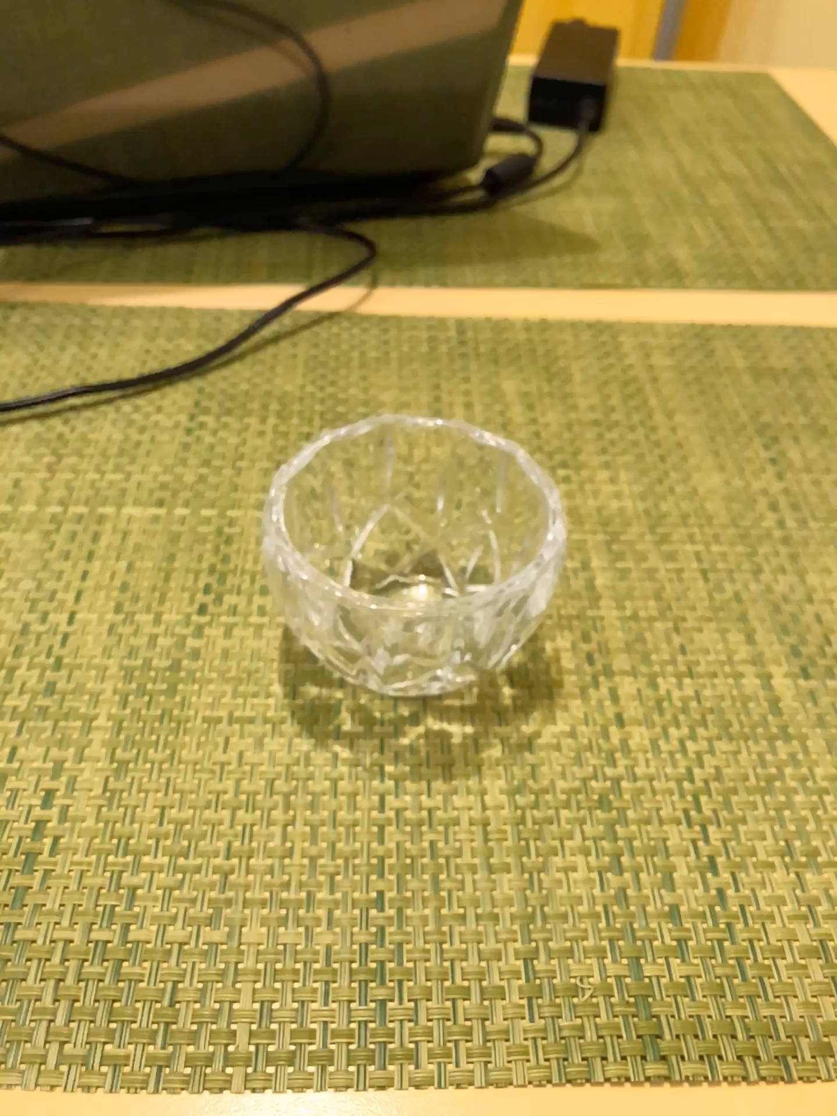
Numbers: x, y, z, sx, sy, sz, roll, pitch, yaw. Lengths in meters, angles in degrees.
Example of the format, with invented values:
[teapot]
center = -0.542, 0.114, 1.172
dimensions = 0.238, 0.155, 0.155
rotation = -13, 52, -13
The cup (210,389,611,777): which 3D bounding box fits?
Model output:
[cup]
center = 0.001, 0.003, 0.237
dimensions = 0.080, 0.045, 0.072
rotation = 12, 46, 7
